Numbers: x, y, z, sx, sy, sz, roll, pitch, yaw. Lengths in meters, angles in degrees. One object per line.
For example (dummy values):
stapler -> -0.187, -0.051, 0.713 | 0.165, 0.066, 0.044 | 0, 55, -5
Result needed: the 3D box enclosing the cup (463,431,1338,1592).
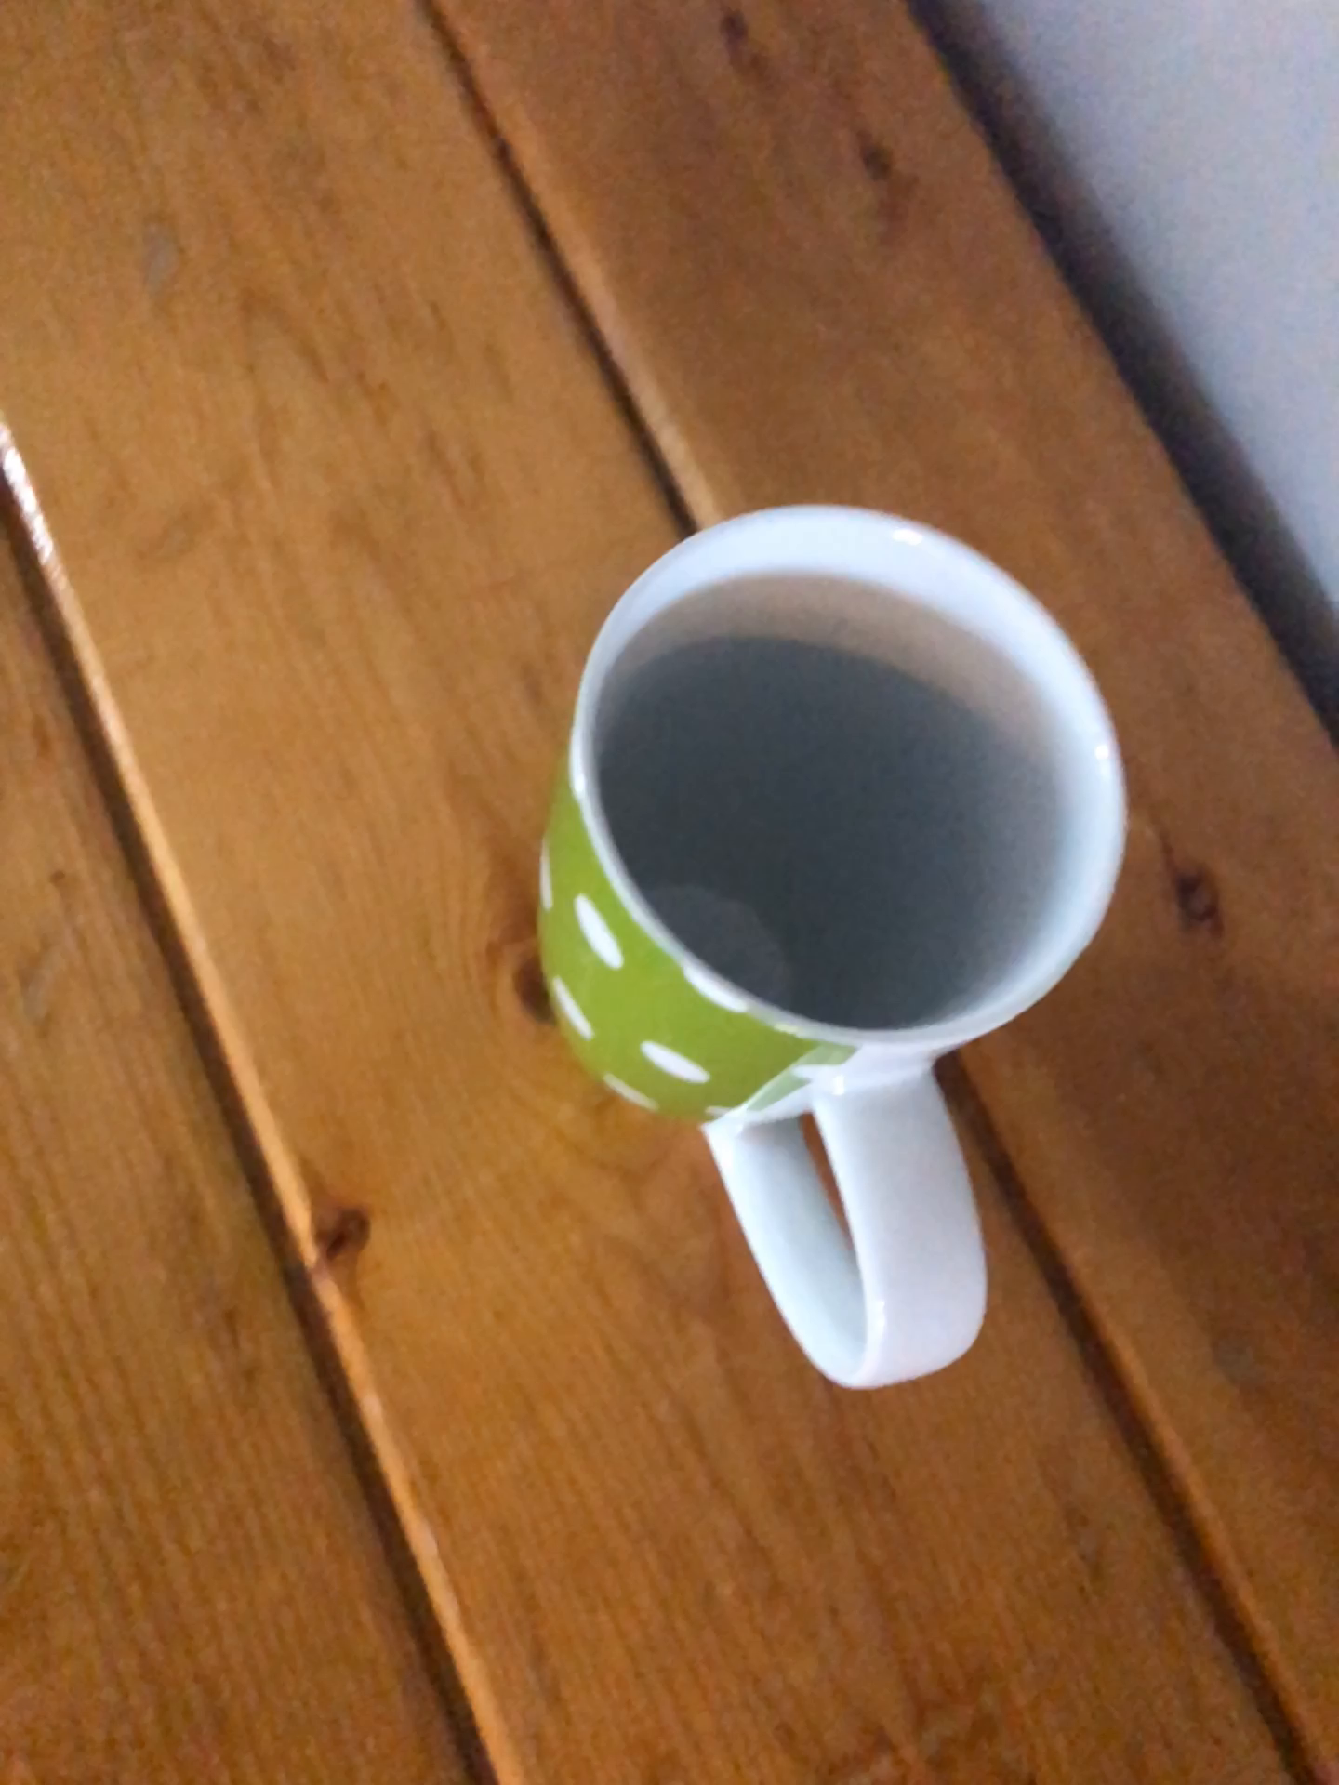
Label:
cup -> 0.028, 0.028, 0.284 | 0.100, 0.150, 0.150 | -13, 75, -12
